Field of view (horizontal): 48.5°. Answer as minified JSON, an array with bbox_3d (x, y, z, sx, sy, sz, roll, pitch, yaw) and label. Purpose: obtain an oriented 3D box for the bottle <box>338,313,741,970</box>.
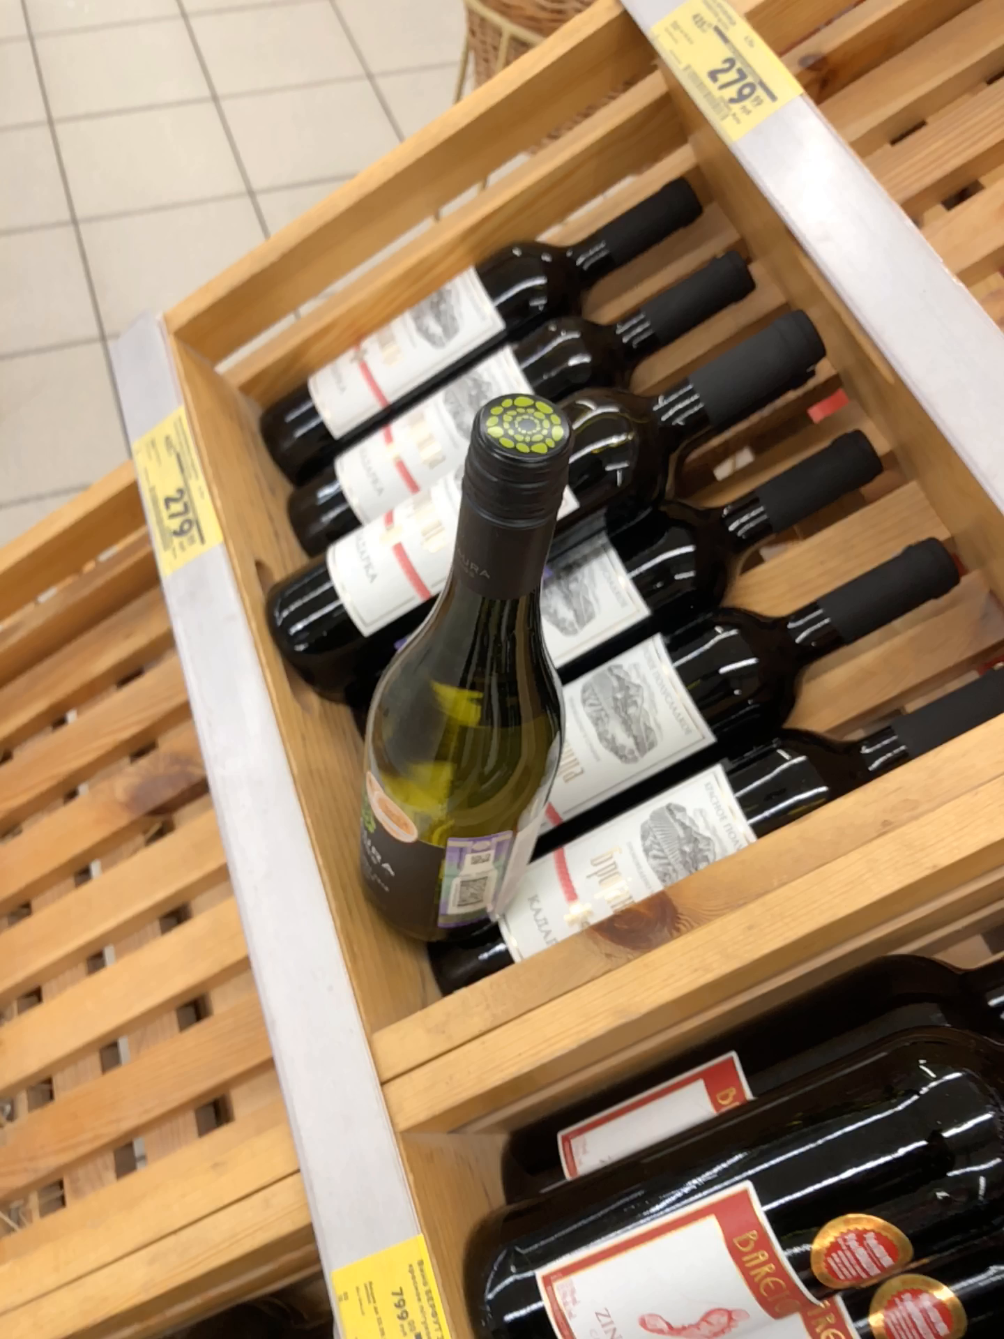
[{"bbox_3d":[-0.009,0.014,0.429,0.090,0.289,0.090,4,56,-6],"label":"bottle"}]
